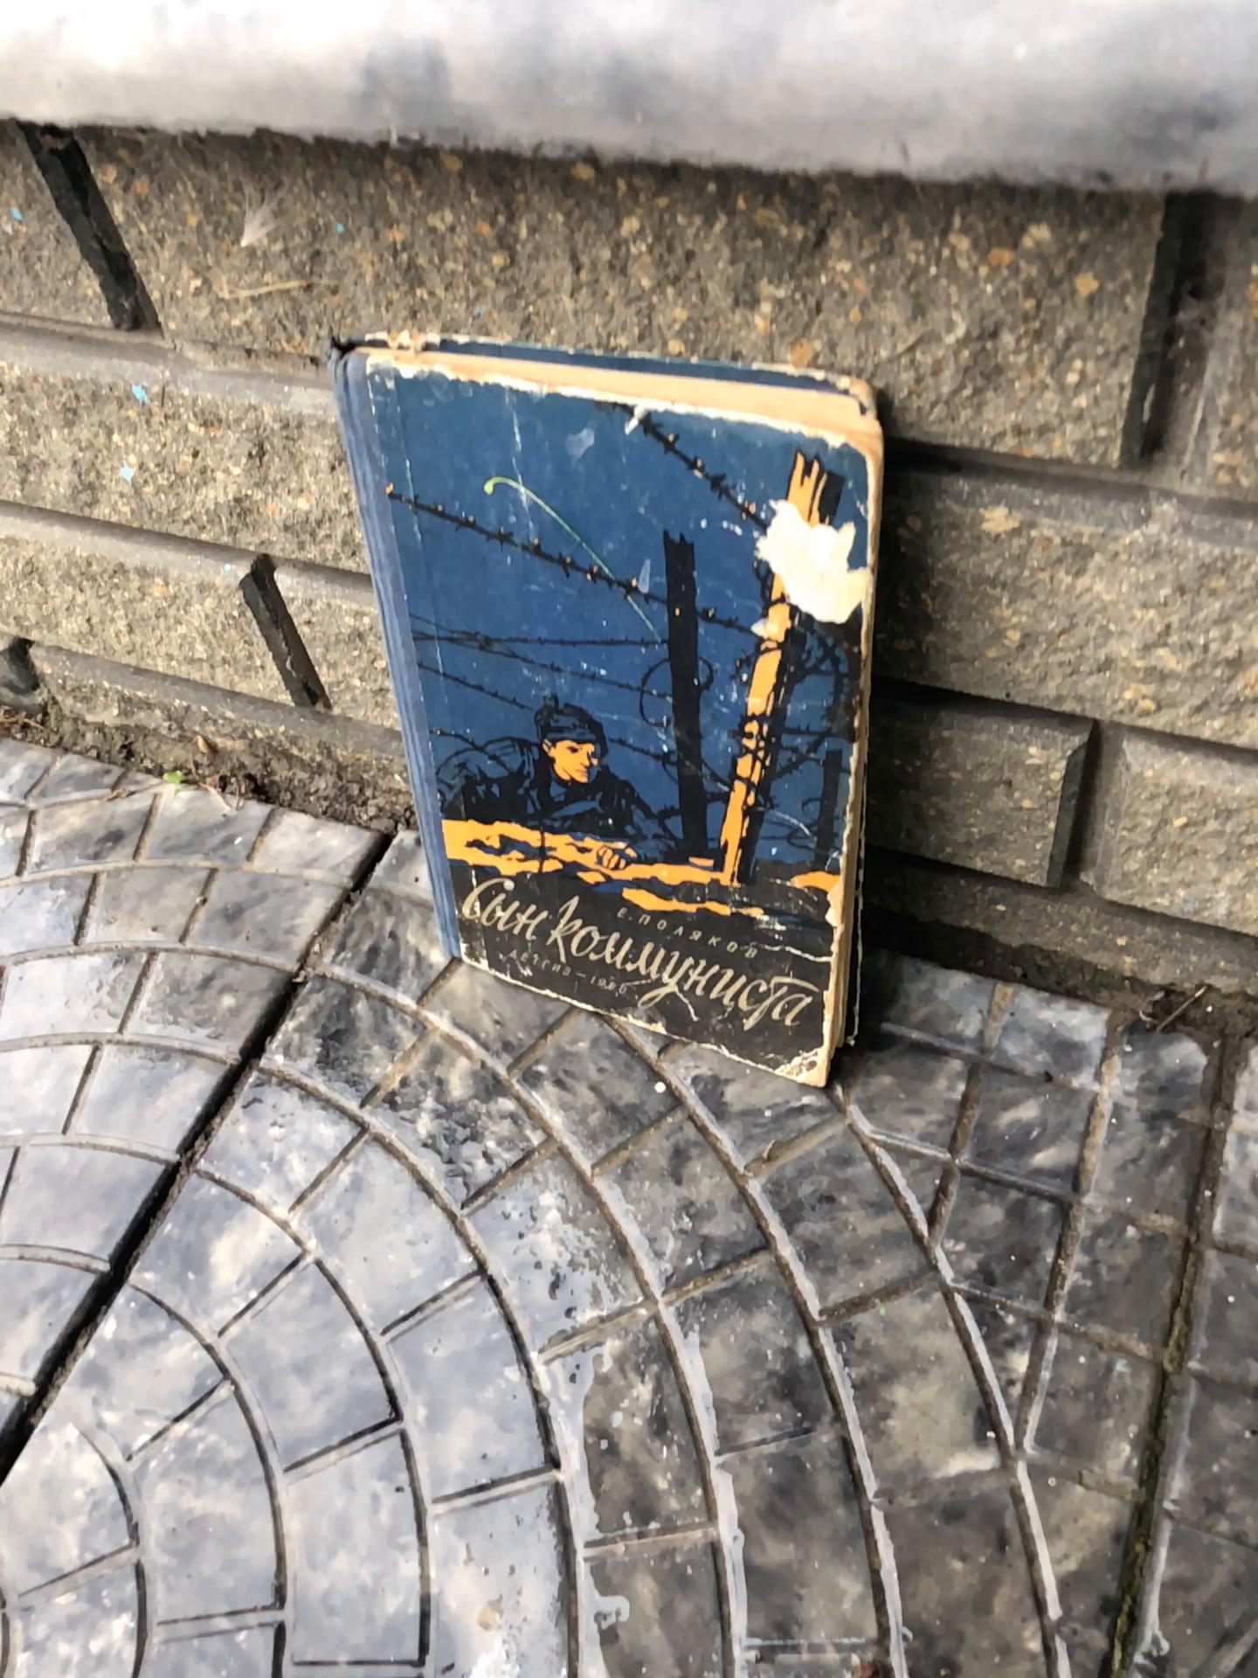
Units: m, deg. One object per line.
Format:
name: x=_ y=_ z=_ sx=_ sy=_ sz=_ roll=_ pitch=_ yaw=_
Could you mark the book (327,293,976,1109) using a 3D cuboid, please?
book: x=0.006 y=-0.029 z=0.371 sx=0.140 sy=0.199 sz=0.040 roll=16 pitch=43 yaw=21
